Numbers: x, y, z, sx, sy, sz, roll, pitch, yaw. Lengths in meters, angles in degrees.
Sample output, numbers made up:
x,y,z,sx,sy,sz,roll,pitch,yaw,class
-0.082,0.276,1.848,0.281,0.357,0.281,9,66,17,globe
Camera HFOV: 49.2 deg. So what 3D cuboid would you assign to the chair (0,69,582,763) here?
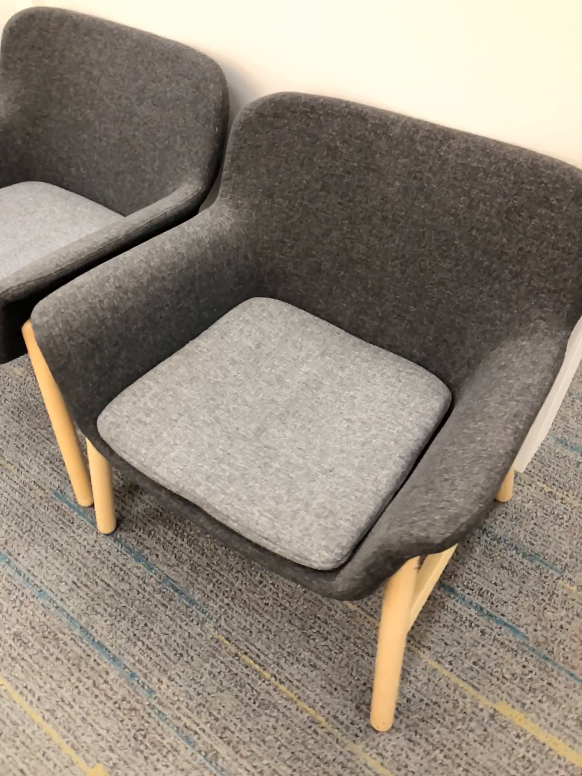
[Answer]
x,y,z,sx,sy,sz,roll,pitch,yaw,class
0.080,0.028,1.220,0.742,0.835,0.732,31,54,26,chair
